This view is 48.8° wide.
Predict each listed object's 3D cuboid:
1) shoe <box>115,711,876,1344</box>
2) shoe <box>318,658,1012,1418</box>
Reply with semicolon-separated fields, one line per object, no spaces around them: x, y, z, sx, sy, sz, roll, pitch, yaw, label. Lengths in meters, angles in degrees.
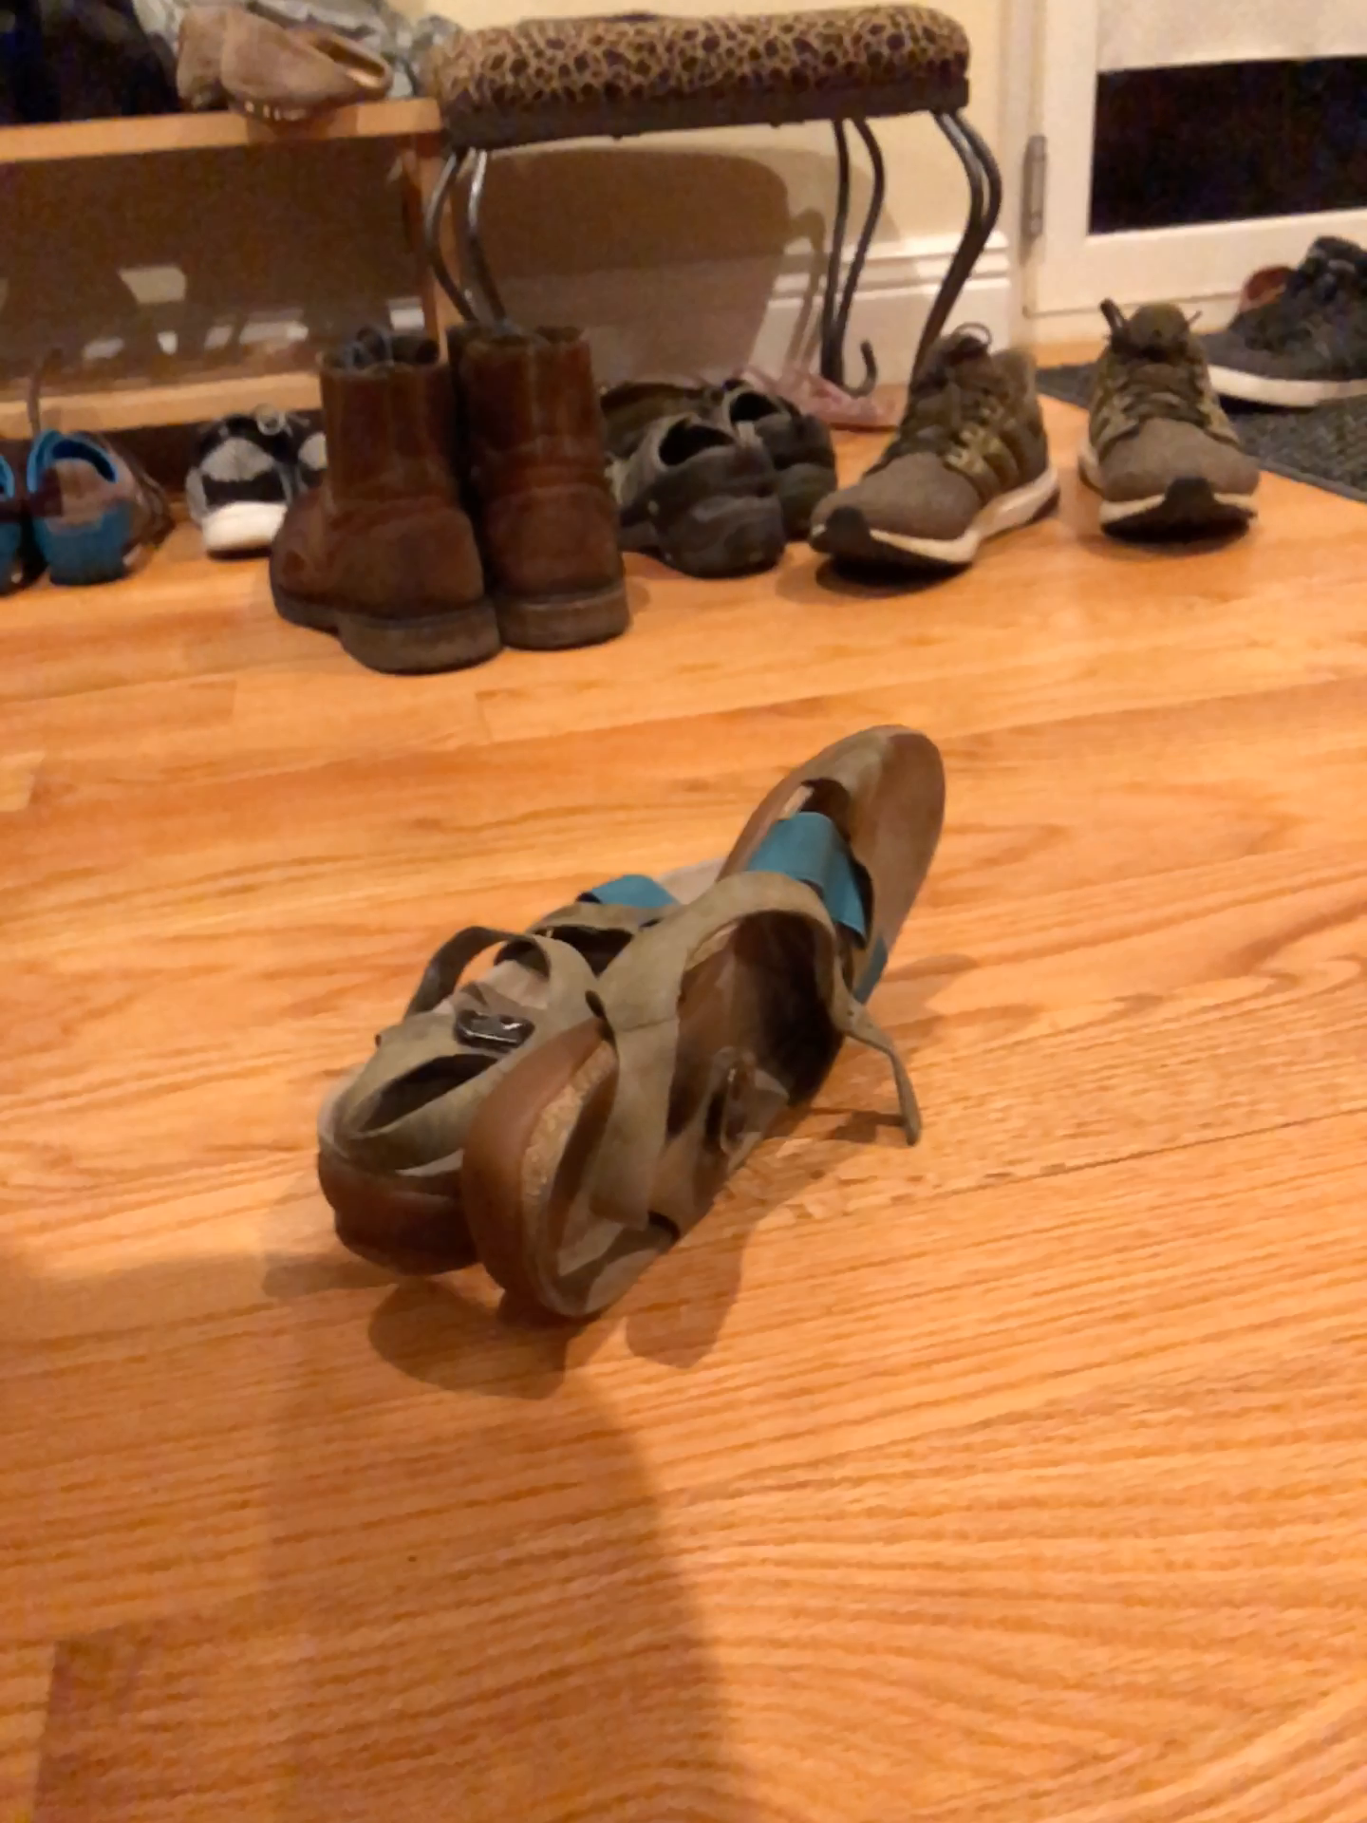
-0.041;0.017;0.484;0.104;0.075;0.241;14;33;32;shoe
0.014;0.016;0.432;0.065;0.104;0.238;14;33;32;shoe
